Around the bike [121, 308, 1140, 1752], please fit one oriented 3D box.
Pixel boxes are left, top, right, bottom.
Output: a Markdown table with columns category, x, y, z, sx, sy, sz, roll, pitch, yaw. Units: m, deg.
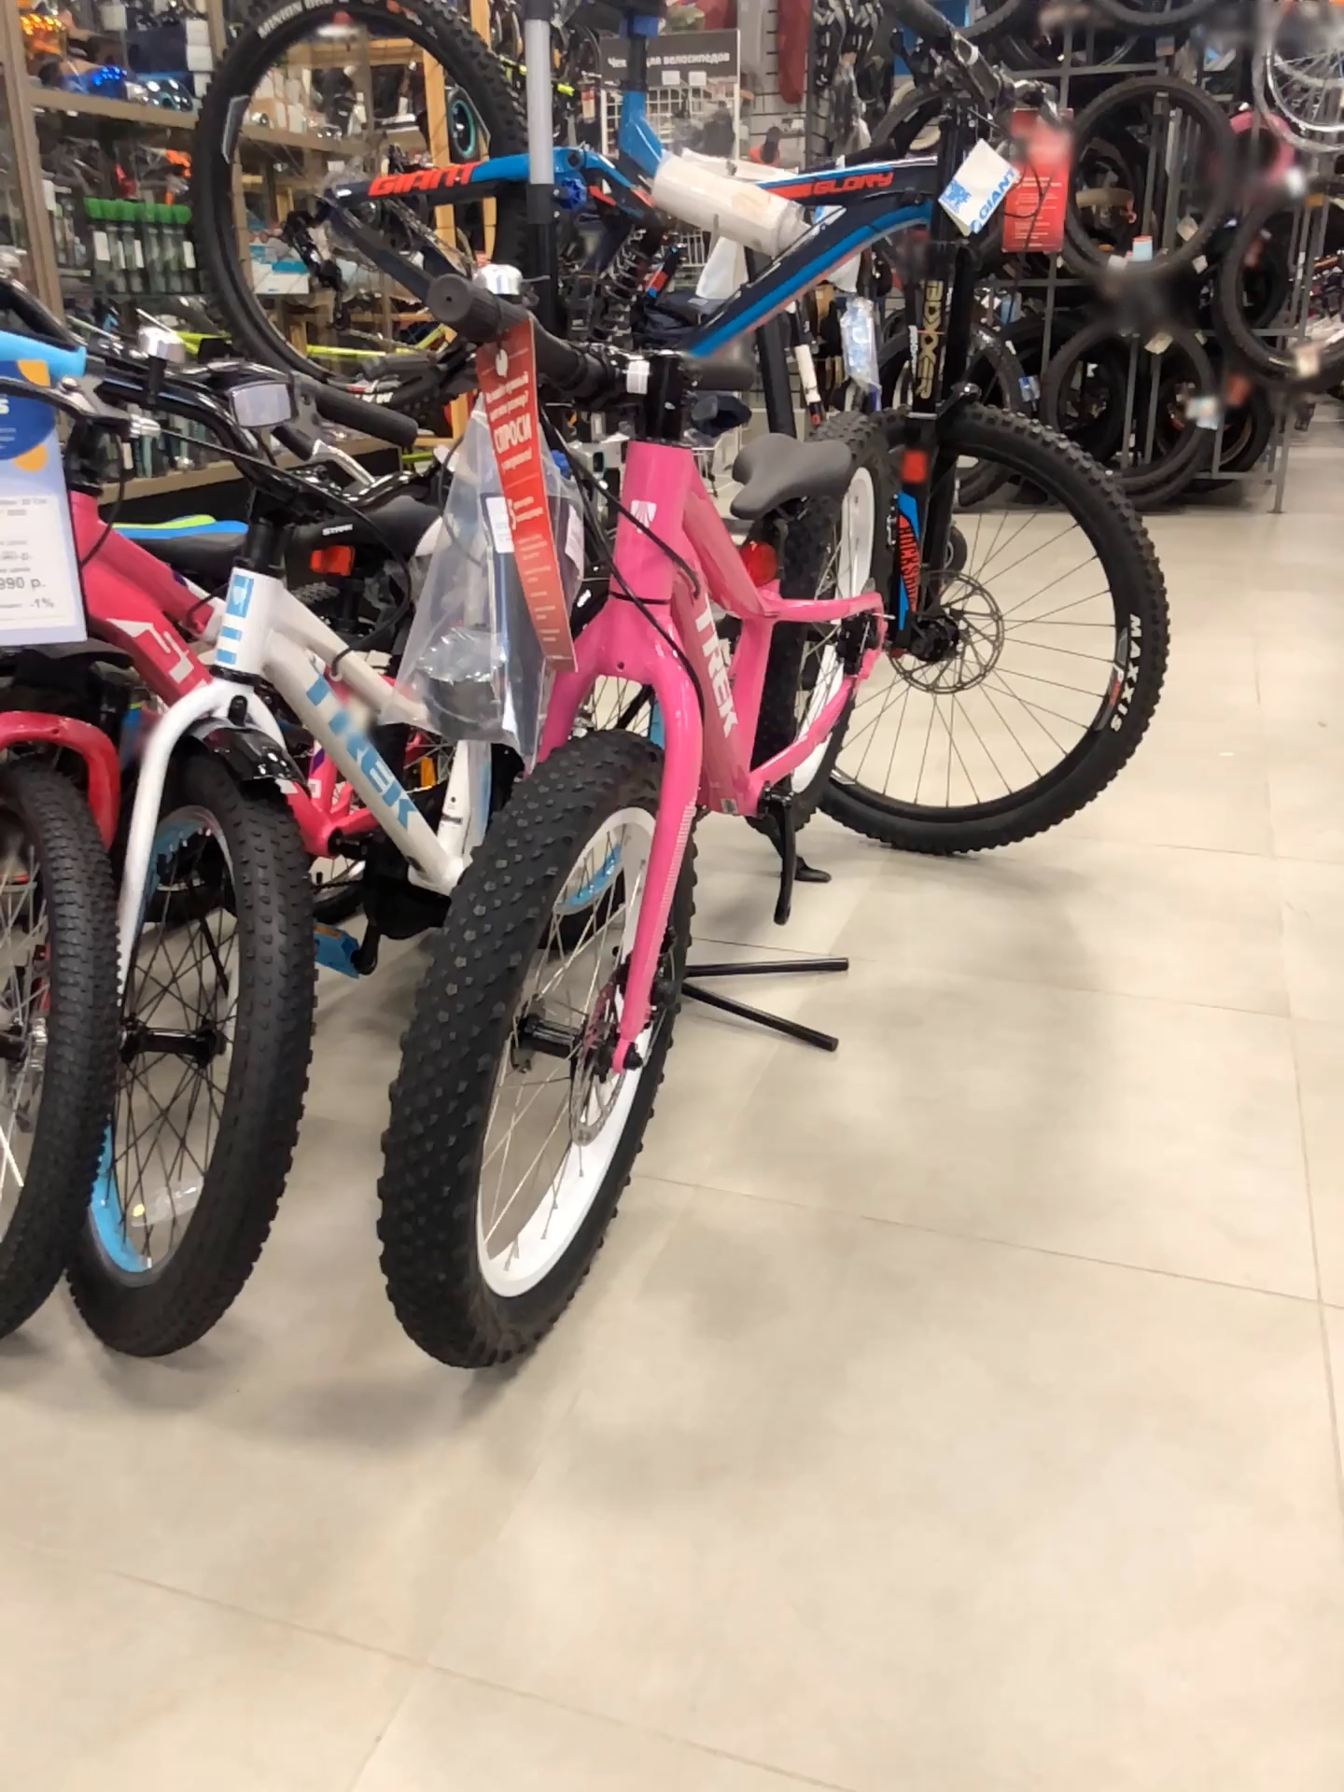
| category | x | y | z | sx | sy | sz | roll | pitch | yaw |
| --- | --- | --- | --- | --- | --- | --- | --- | --- | --- |
| bike | 0.116 | -0.123 | 1.501 | 0.571 | 0.668 | 1.342 | 6 | 30 | 18 |
